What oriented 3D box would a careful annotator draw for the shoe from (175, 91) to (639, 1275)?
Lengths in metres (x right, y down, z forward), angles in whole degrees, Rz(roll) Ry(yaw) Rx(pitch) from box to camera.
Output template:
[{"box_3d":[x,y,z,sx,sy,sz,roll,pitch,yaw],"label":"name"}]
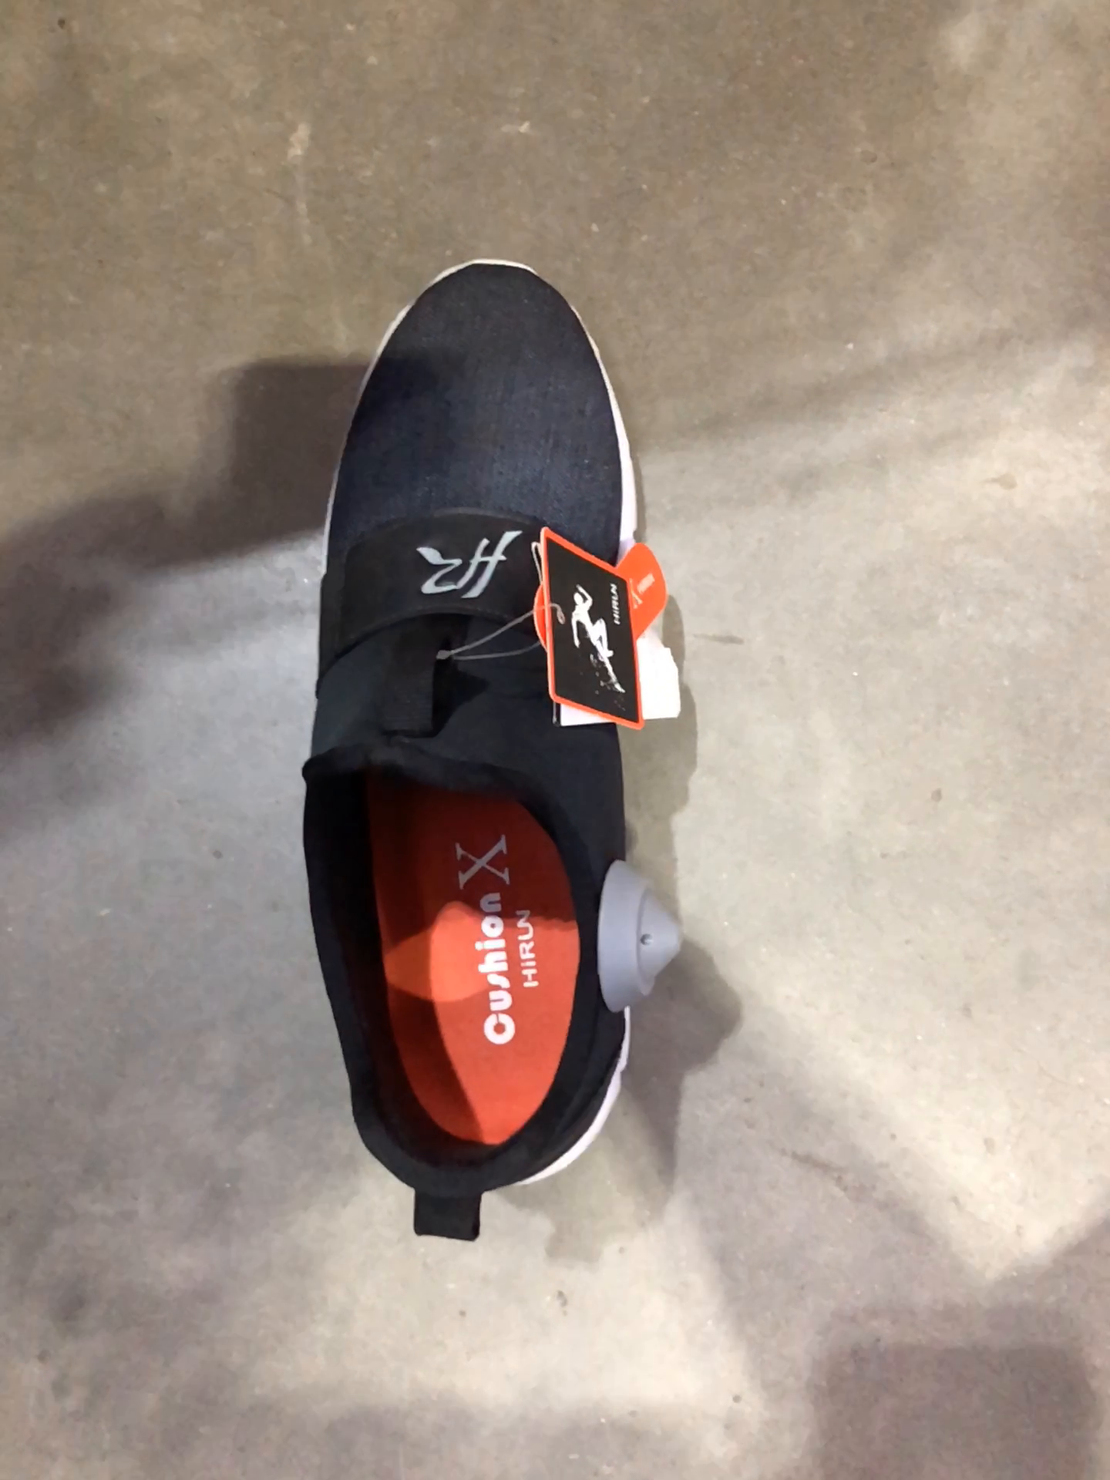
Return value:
[{"box_3d":[-0.032,-0.012,0.346,0.100,0.130,0.270,-2,84,5],"label":"shoe"}]
